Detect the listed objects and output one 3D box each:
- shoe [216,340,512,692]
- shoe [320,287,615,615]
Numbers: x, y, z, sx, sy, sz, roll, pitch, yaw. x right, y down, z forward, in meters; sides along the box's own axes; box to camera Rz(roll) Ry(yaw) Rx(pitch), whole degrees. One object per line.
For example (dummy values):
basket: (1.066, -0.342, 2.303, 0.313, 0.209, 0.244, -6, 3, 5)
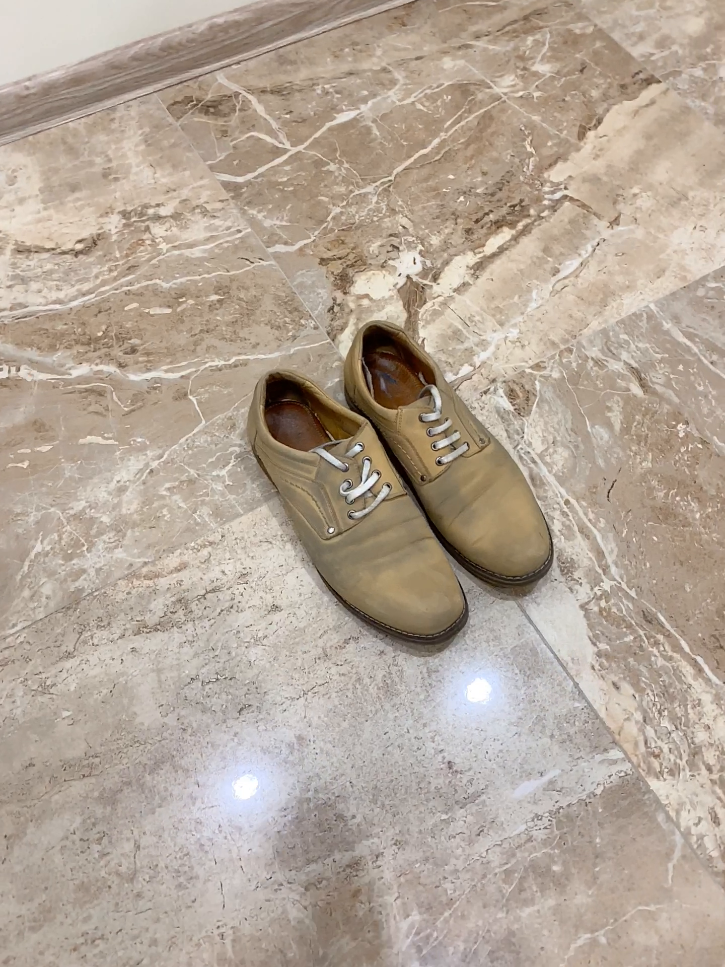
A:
shoe: (-0.007, 0.022, 0.643, 0.110, 0.080, 0.280, -29, 69, -15)
shoe: (0.081, -0.036, 0.666, 0.110, 0.070, 0.280, -29, 69, -15)
